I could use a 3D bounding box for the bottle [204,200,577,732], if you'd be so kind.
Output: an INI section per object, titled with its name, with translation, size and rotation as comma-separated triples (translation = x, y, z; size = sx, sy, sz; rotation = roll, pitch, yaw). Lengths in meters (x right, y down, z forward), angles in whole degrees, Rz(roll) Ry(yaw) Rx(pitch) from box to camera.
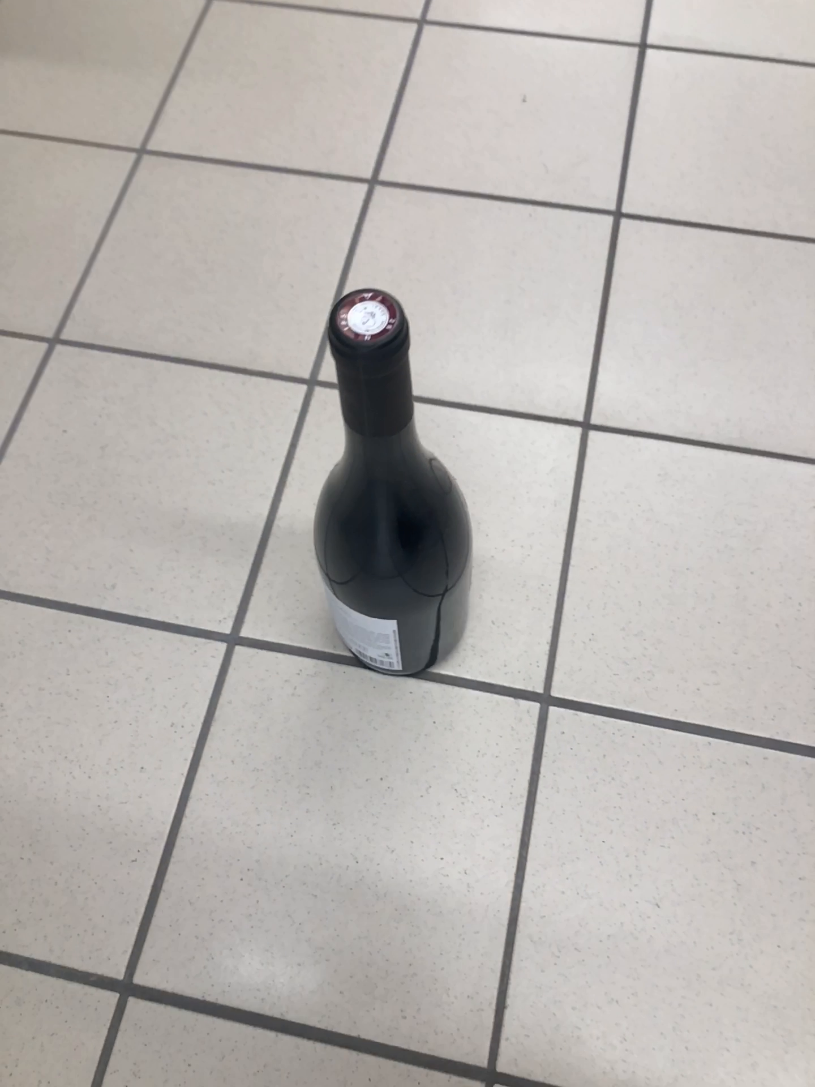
[bottle]
translation = -0.002, -0.007, 0.437
size = 0.090, 0.289, 0.090
rotation = -1, 64, 2
